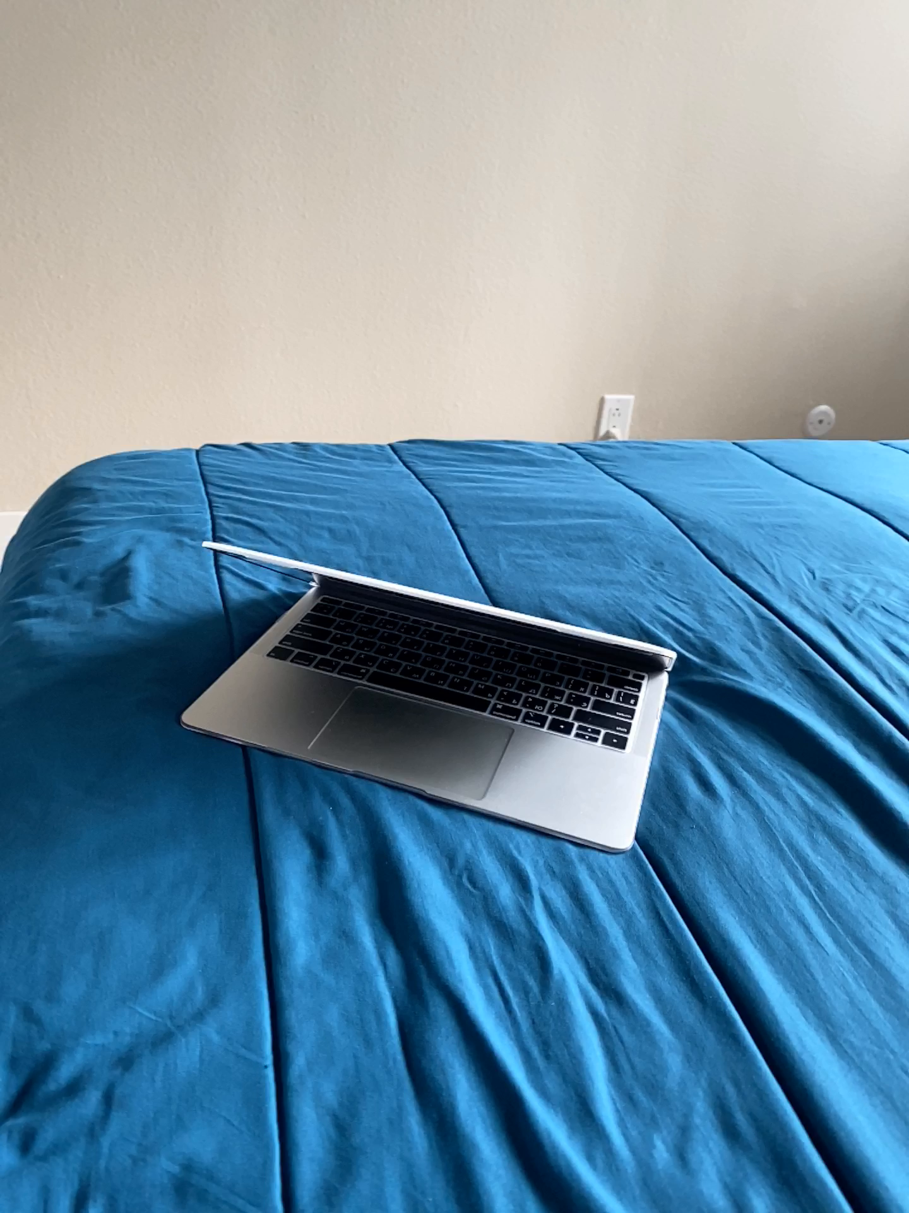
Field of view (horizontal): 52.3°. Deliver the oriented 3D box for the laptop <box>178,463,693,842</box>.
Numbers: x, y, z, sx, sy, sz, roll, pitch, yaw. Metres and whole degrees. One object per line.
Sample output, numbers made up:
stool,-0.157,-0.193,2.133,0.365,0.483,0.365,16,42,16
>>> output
laptop,-0.003,0.011,0.669,0.311,0.106,0.220,12,31,14
